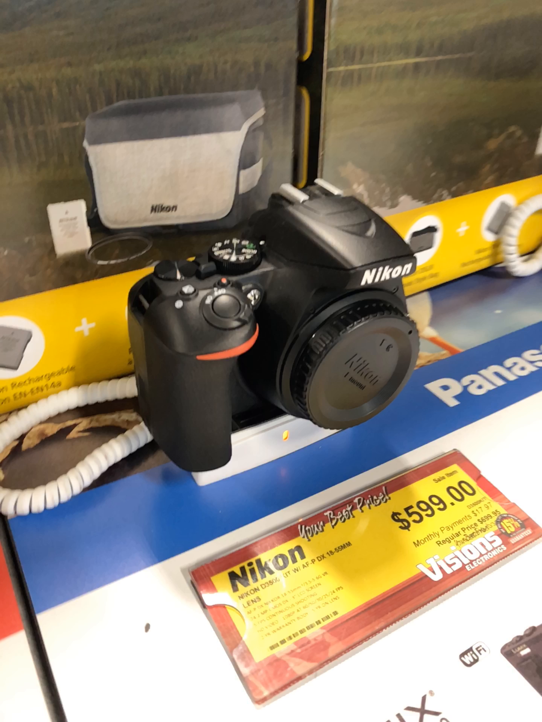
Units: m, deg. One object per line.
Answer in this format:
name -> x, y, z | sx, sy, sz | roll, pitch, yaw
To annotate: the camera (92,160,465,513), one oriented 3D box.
camera -> 0.001, -0.018, 0.260 | 0.120, 0.099, 0.080 | -17, 39, -23
